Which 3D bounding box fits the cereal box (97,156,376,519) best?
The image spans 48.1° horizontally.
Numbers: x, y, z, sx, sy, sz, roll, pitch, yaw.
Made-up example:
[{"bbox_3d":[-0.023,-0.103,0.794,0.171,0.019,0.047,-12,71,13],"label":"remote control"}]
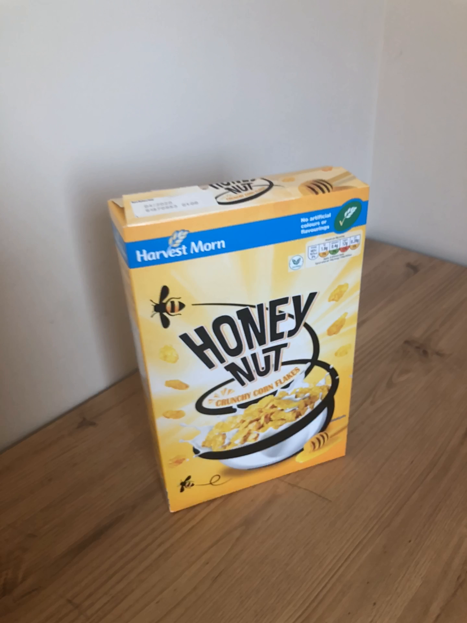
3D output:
[{"bbox_3d":[0.010,0.032,0.467,0.200,0.298,0.060,-13,32,-16],"label":"cereal box"}]
